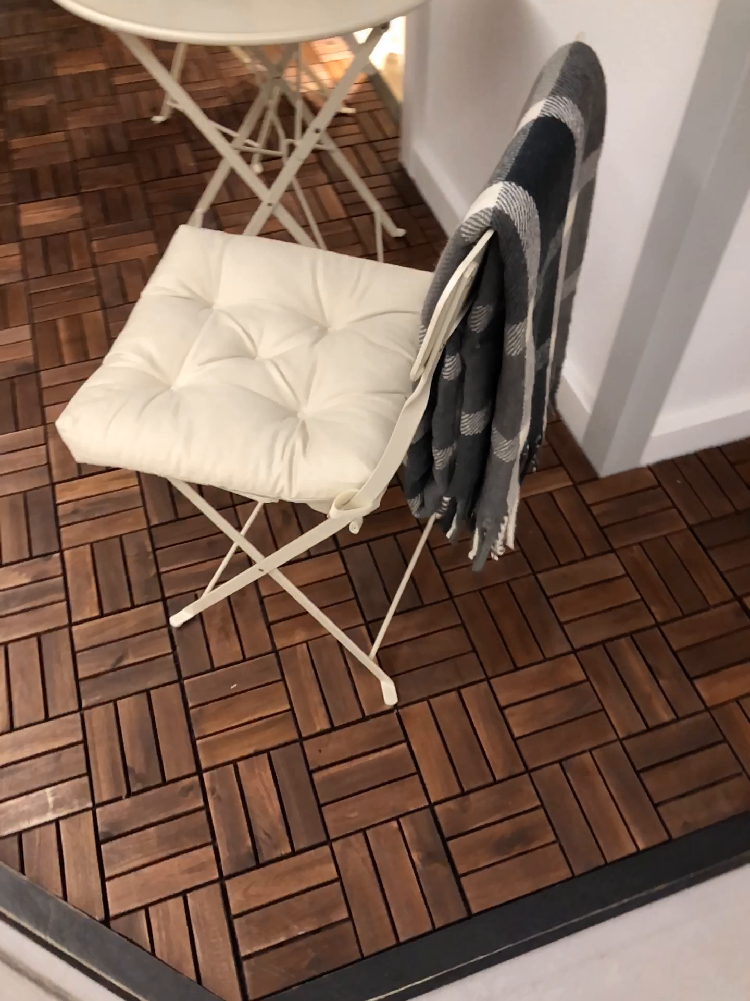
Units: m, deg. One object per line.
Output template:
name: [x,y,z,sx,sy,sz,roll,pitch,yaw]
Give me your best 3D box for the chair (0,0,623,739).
chair: [-0.098,-0.167,0.975,0.511,0.736,0.492,18,55,13]
